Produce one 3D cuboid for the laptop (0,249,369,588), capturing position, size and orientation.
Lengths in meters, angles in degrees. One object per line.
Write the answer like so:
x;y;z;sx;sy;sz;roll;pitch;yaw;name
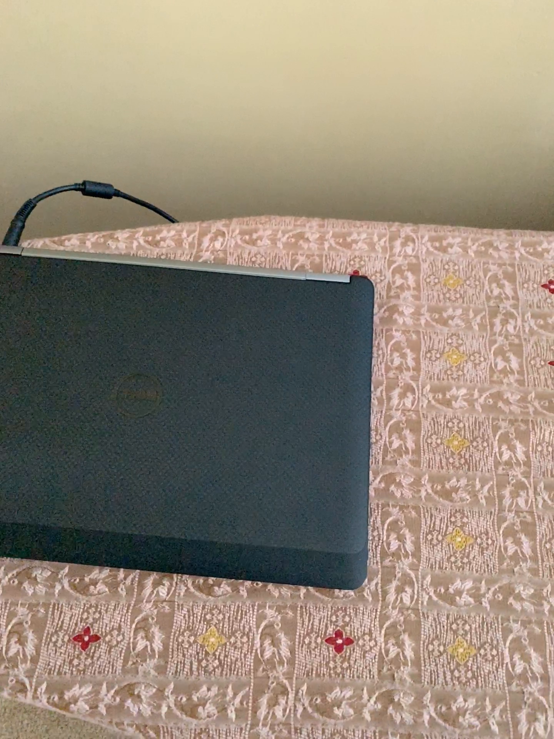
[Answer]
-0.094;0.020;0.371;0.294;0.017;0.197;4;70;5;laptop
